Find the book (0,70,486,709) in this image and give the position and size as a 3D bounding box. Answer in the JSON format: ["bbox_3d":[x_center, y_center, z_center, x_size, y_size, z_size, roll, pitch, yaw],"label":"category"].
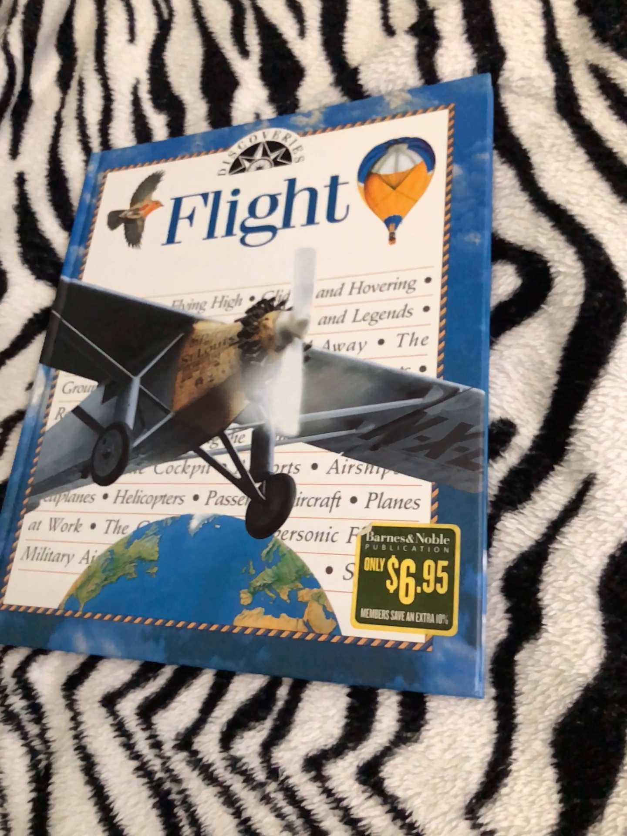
[{"bbox_3d":[-0.048,-0.029,0.357,0.258,0.020,0.301,-1,69,20],"label":"book"}]
